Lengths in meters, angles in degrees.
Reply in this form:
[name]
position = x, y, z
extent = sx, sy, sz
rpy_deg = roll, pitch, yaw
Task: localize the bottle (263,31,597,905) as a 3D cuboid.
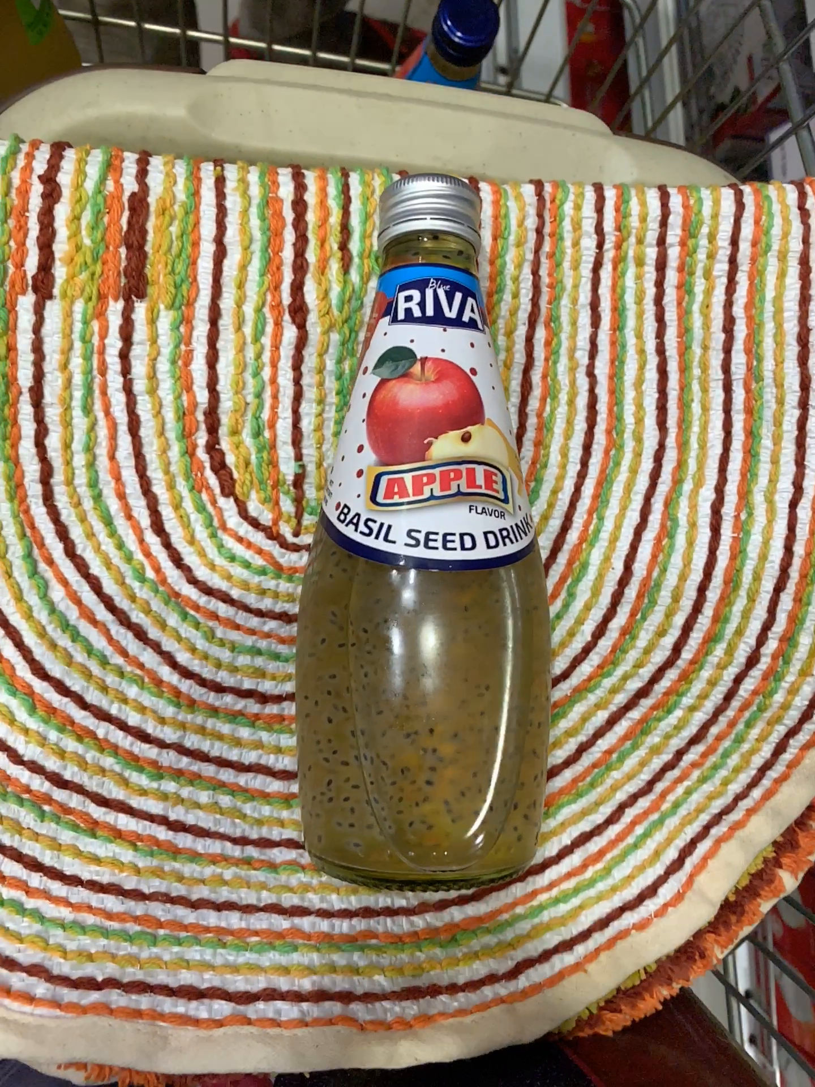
[bottle]
position = 0.002, -0.021, 0.217
extent = 0.070, 0.050, 0.200
rpy_deg = 2, 79, -10
